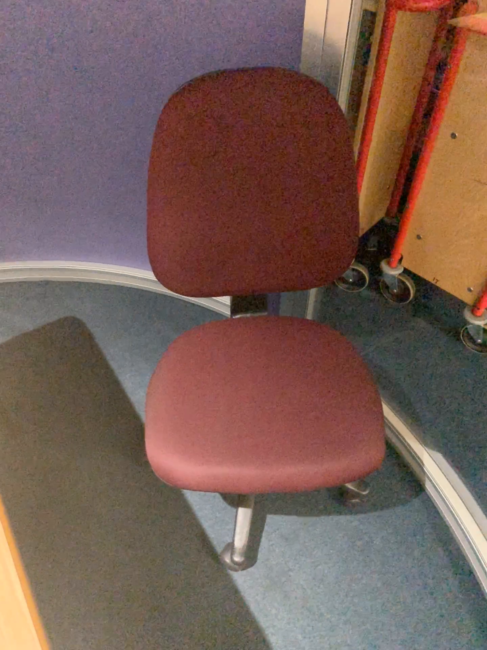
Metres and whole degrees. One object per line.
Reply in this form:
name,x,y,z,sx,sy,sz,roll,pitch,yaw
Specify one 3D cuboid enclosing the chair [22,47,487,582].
chair,0.016,-0.030,1.107,0.580,0.773,0.858,-5,49,-4
